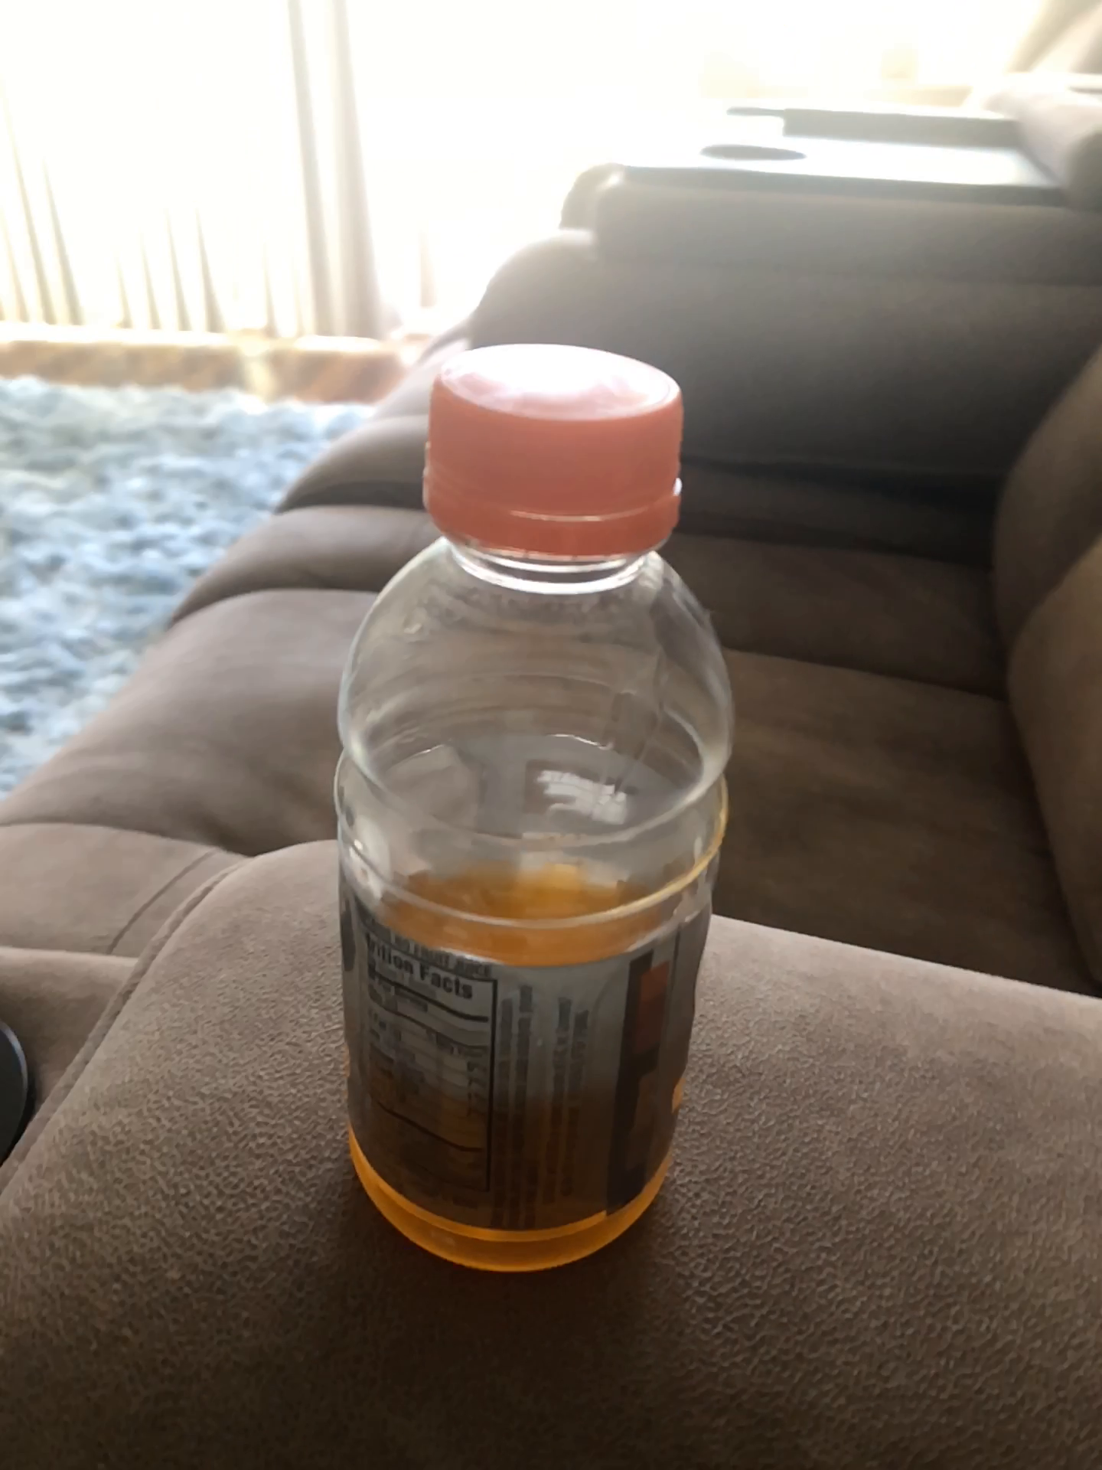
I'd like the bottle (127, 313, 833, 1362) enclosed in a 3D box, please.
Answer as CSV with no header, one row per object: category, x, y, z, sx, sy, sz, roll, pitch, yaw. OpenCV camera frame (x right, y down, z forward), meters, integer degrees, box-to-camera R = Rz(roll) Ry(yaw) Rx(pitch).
bottle,-0.008,0.016,0.210,0.070,0.149,0.070,0,32,0
